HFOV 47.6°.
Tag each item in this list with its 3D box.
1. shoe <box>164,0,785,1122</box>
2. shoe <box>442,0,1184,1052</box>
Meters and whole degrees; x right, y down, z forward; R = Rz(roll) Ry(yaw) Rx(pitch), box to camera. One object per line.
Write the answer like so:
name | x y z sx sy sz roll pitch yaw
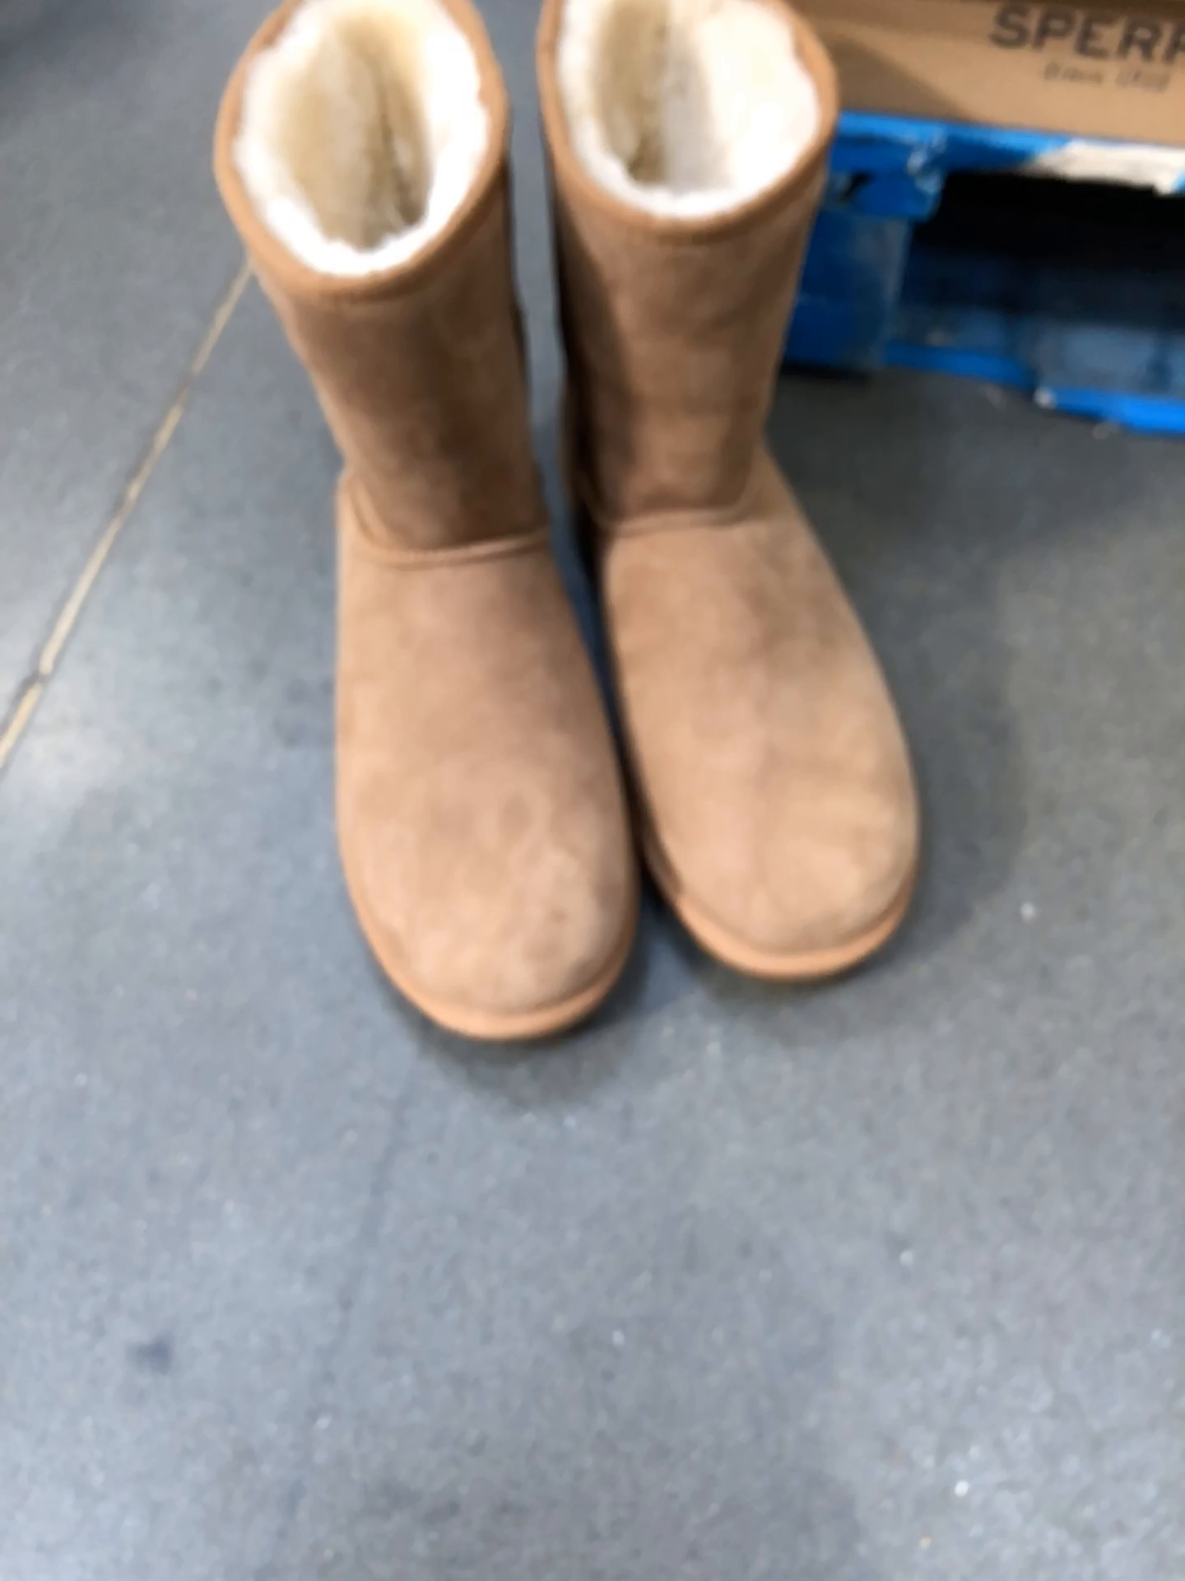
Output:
shoe | -0.042 -0.083 0.468 0.130 0.260 0.310 -9 60 -2
shoe | 0.054 -0.110 0.476 0.130 0.260 0.310 -12 60 -4
